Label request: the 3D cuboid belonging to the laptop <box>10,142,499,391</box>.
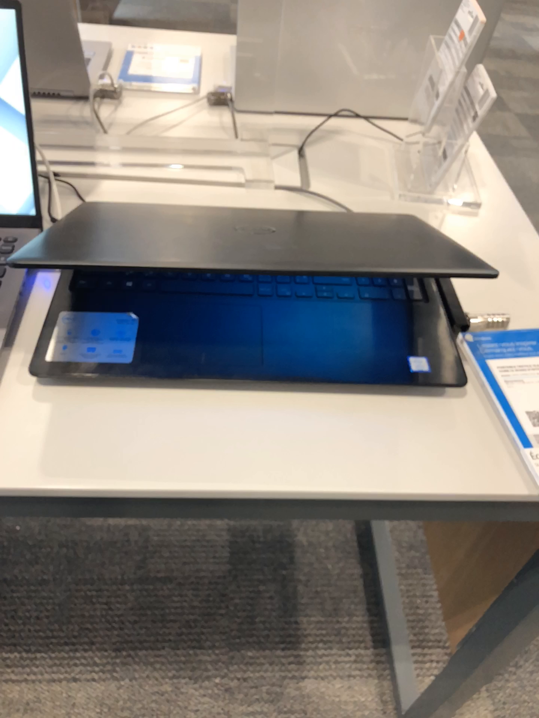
[{"bbox_3d":[-0.007,-0.095,0.560,0.365,0.080,0.246,3,46,-5],"label":"laptop"}]
